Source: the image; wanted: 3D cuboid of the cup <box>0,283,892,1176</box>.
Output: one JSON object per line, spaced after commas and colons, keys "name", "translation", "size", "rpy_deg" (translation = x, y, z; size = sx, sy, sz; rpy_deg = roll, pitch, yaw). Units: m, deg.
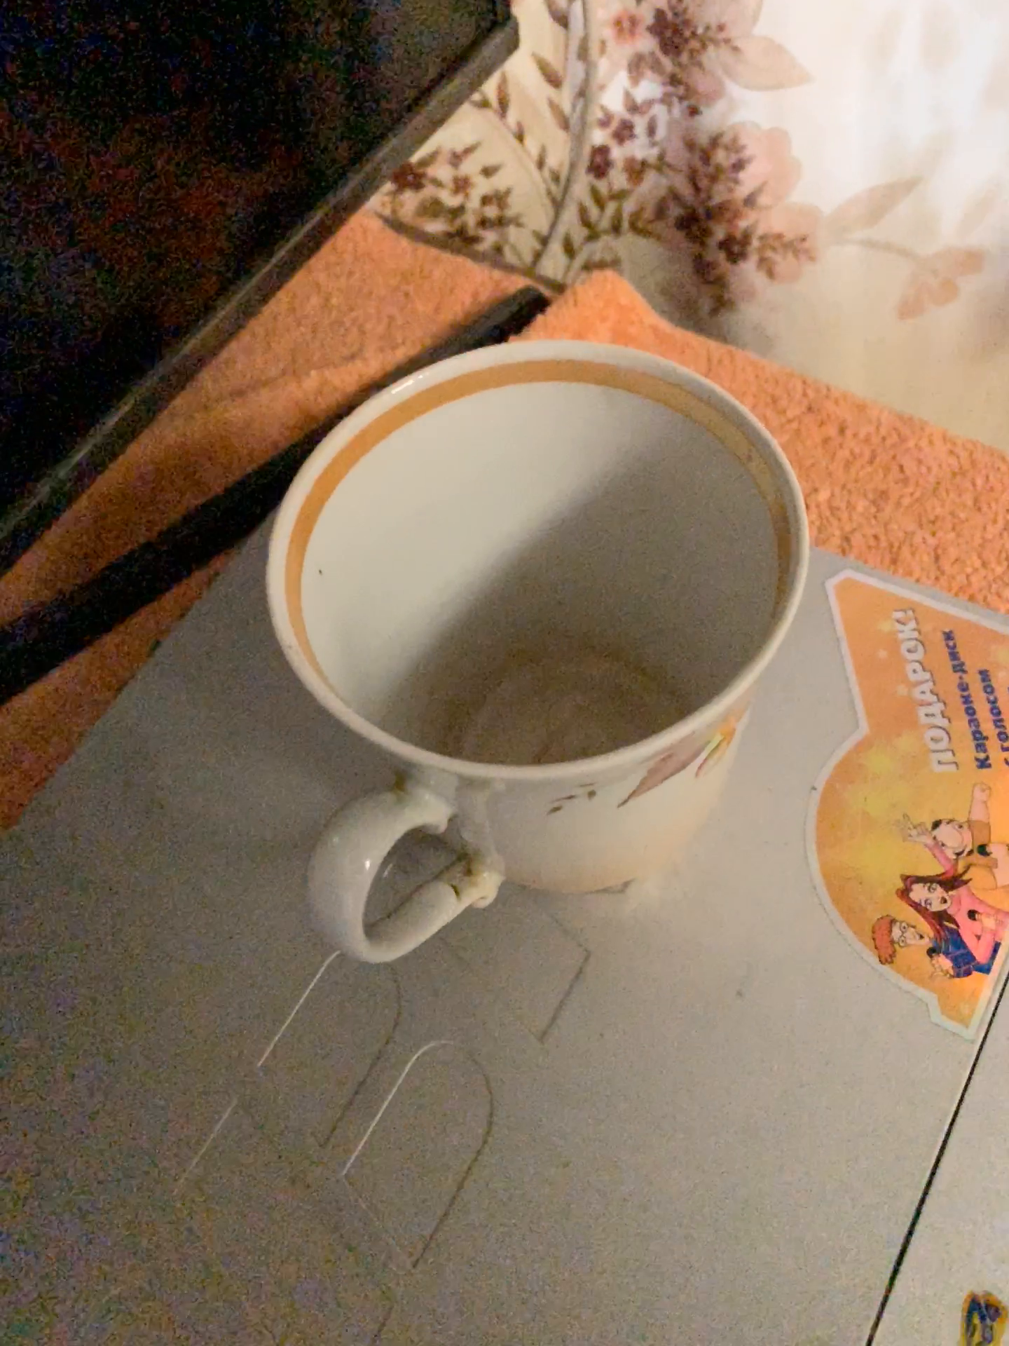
{"name": "cup", "translation": [-0.001, 0.009, 0.200], "size": [0.100, 0.091, 0.113], "rpy_deg": [20, 62, 20]}
